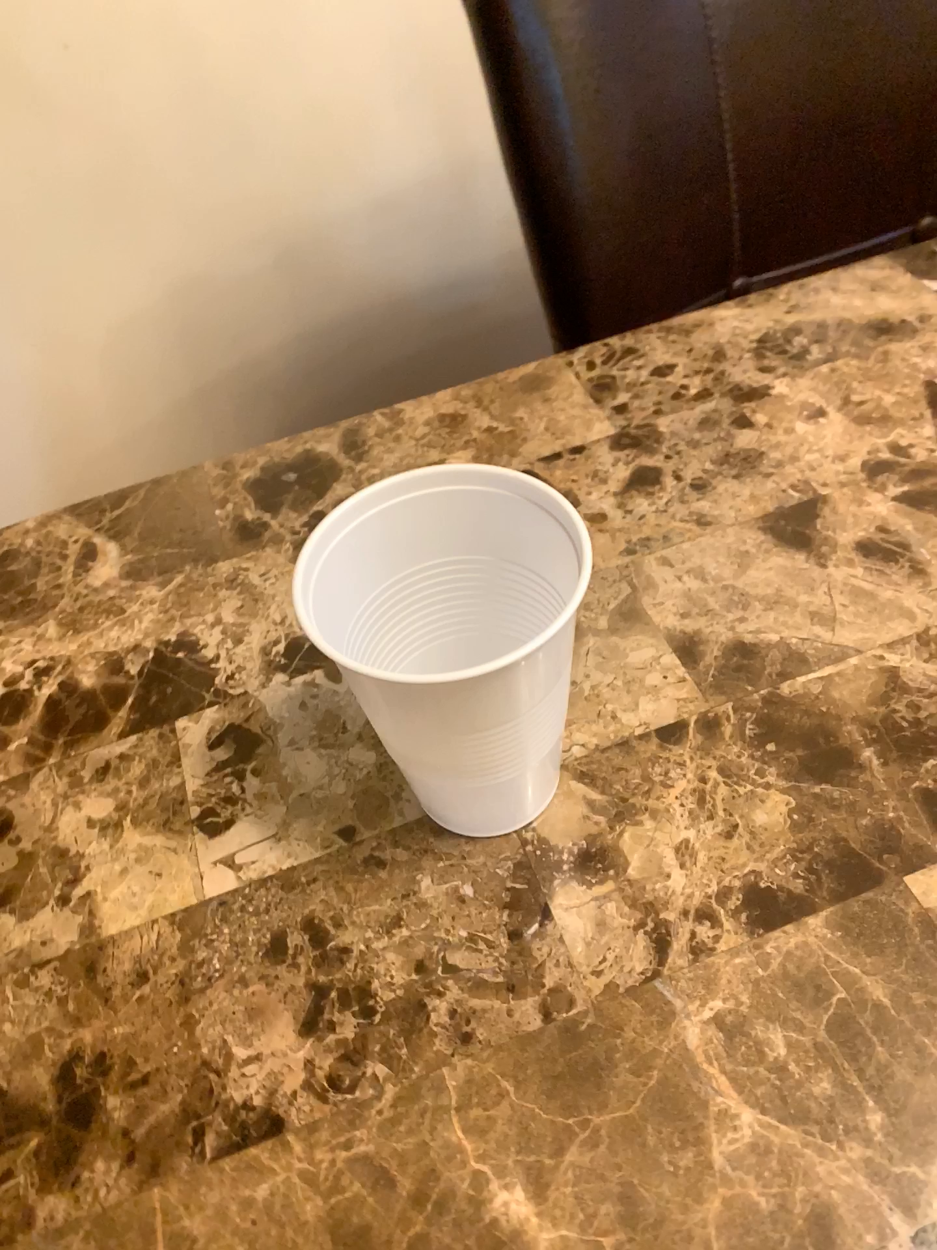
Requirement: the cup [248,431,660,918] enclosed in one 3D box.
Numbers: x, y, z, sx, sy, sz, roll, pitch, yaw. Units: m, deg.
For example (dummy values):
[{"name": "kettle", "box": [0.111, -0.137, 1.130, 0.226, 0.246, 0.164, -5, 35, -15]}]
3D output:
[{"name": "cup", "box": [-0.002, 0.013, 0.276, 0.077, 0.083, 0.082, -5, 48, 5]}]
